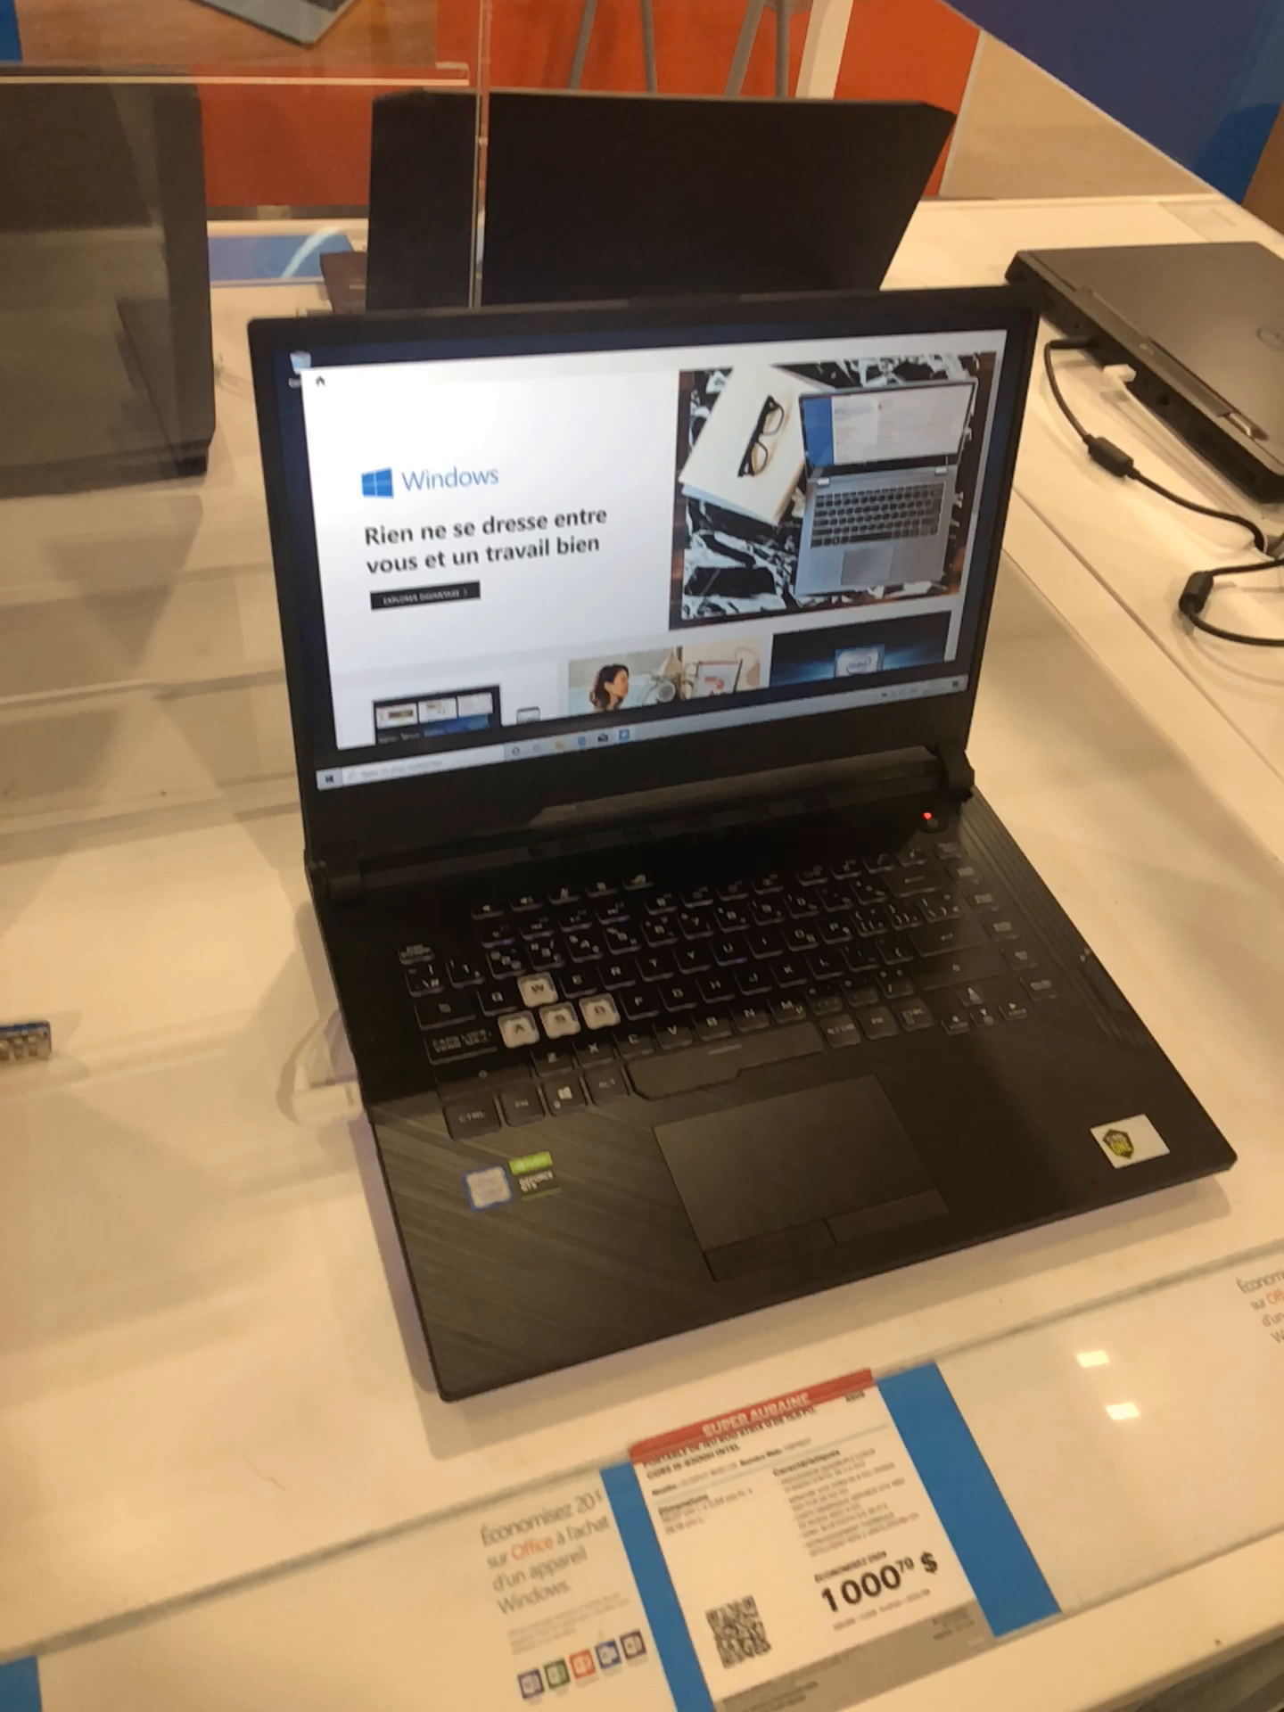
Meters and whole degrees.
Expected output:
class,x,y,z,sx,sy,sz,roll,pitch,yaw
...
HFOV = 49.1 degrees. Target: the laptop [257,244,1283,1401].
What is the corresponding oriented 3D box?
class,x,y,z,sx,sy,sz,roll,pitch,yaw
laptop,0.054,-0.045,0.602,0.363,0.236,0.345,-11,51,-18
